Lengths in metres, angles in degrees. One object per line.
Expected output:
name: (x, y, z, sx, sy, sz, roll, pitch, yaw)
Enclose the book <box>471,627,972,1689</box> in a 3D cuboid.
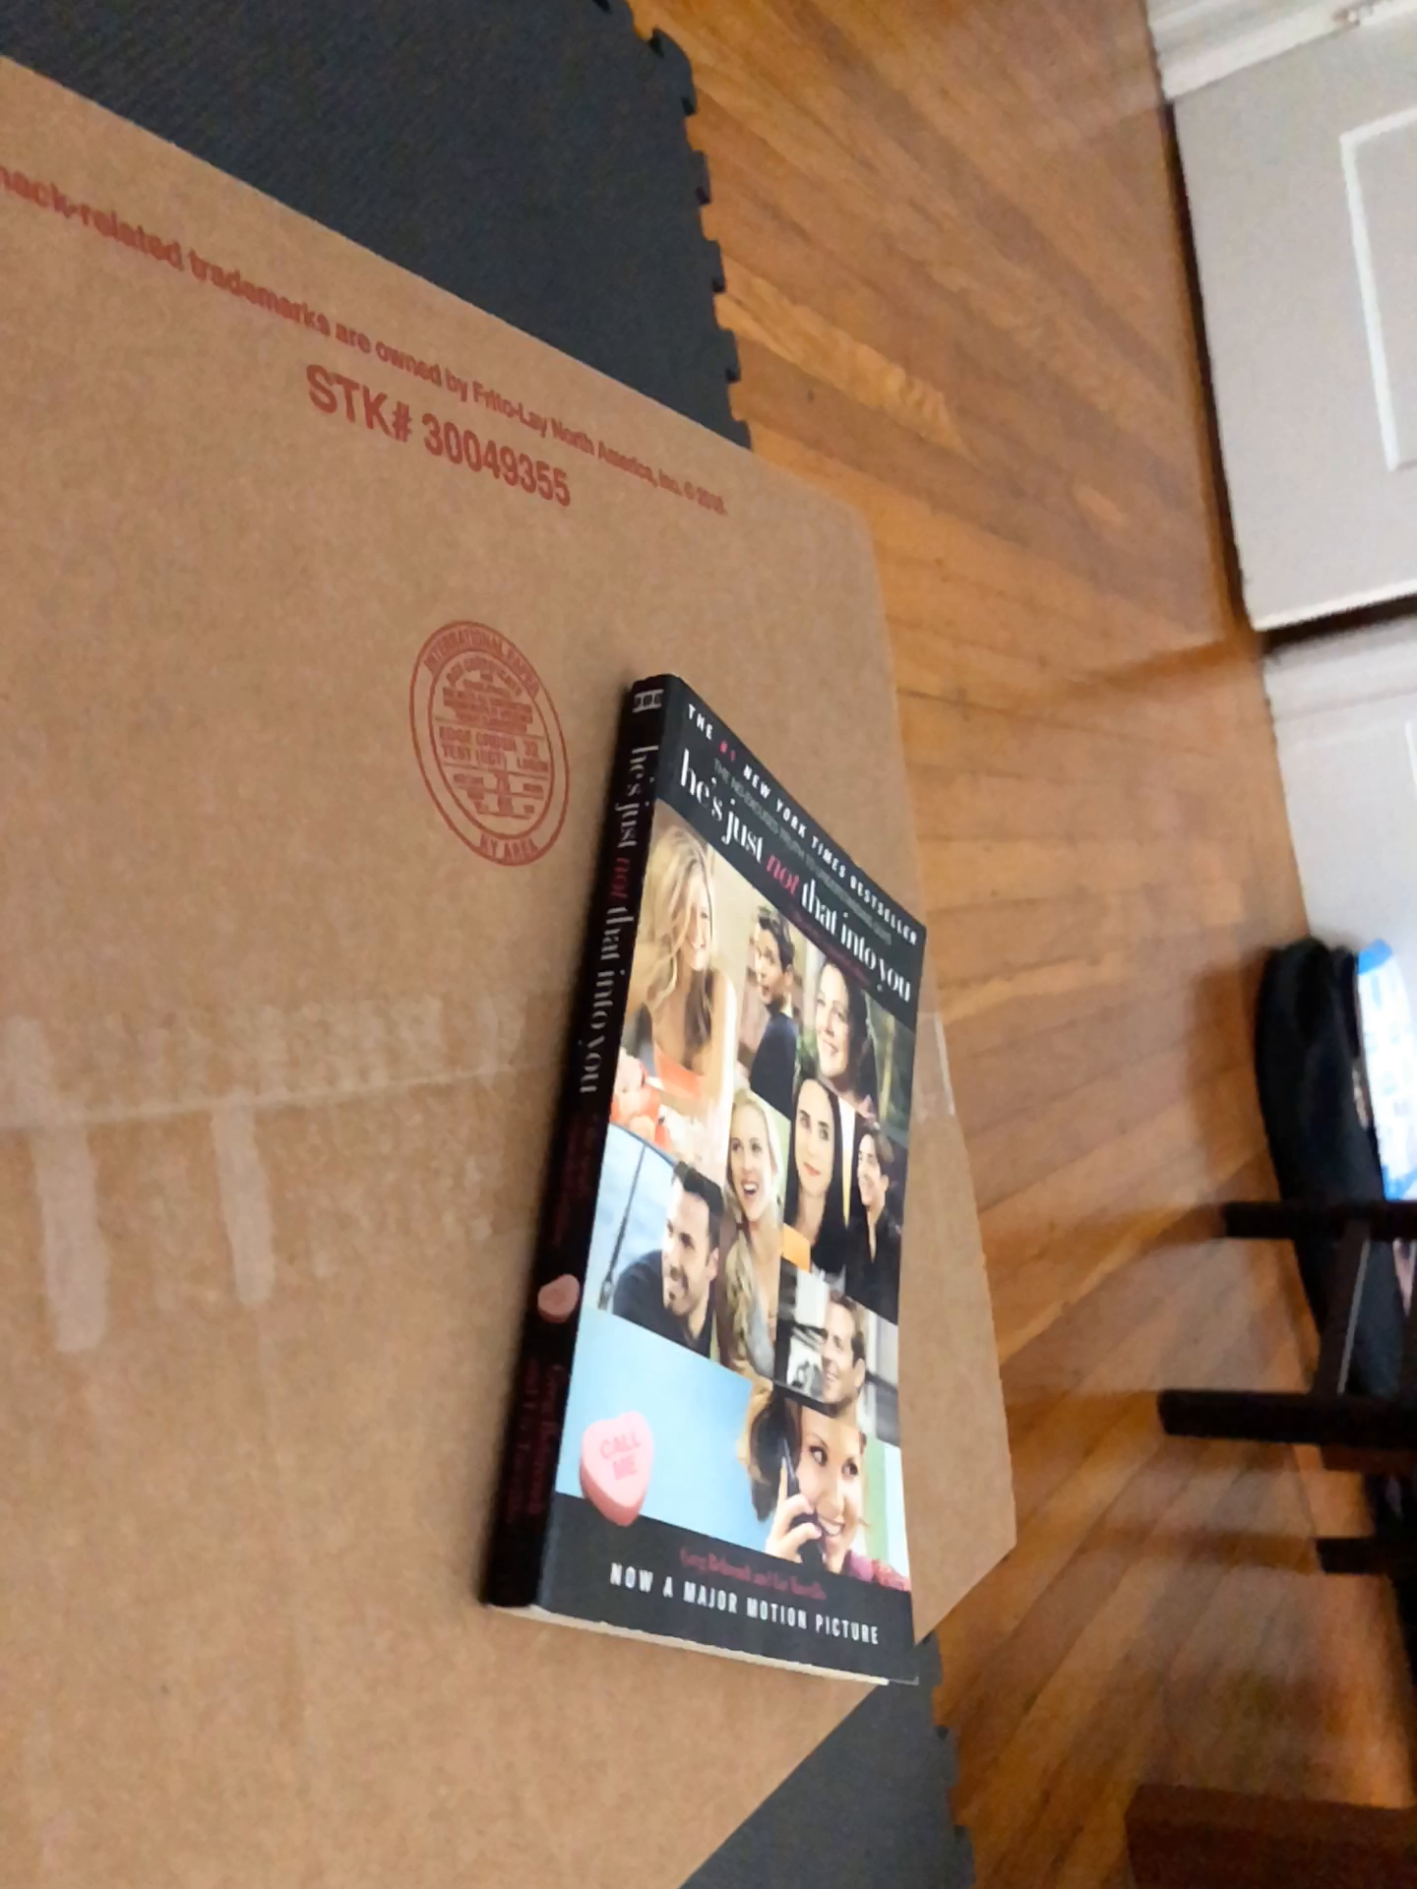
book: (0.019, 0.057, 0.374, 0.161, 0.020, 0.210, 38, 50, -48)
